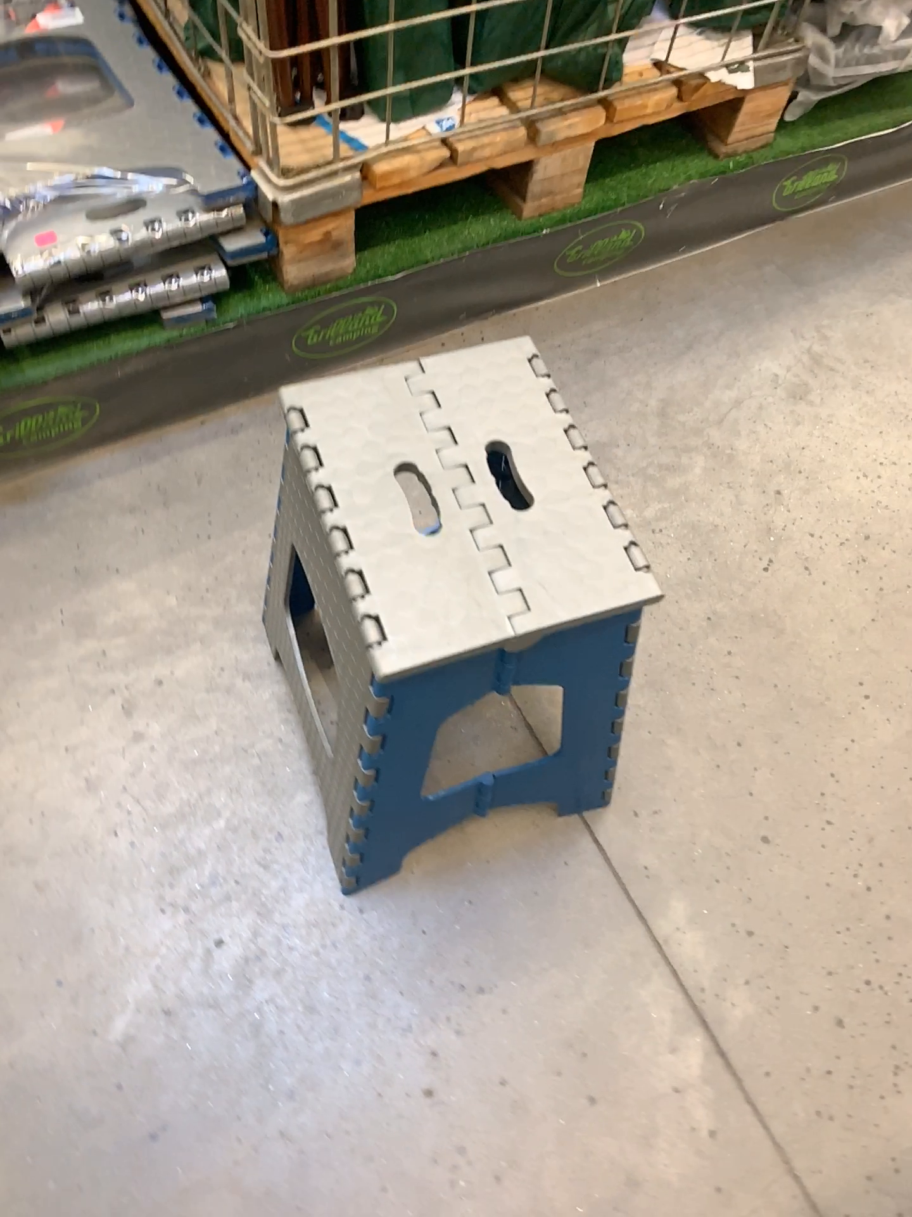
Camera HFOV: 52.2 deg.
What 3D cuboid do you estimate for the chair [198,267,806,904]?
[{"bbox_3d":[0.003,0.001,0.857,0.340,0.419,0.351,-15,64,-14],"label":"chair"}]
